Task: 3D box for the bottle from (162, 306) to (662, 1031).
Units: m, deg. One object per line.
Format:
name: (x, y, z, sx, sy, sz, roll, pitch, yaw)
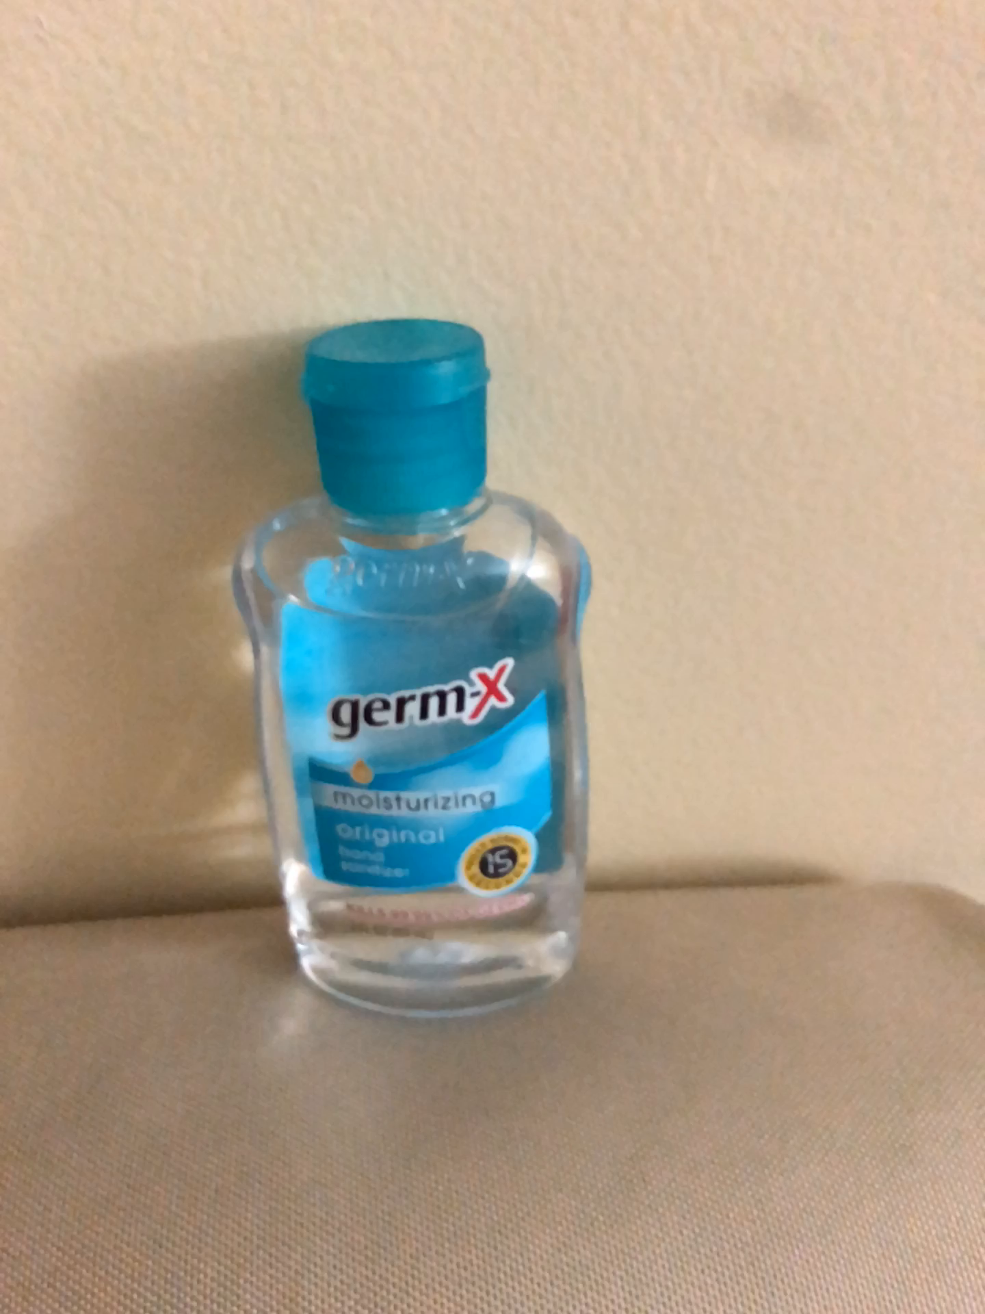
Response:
bottle: (-0.011, 0.005, 0.174, 0.060, 0.110, 0.030, -1, 28, -4)
